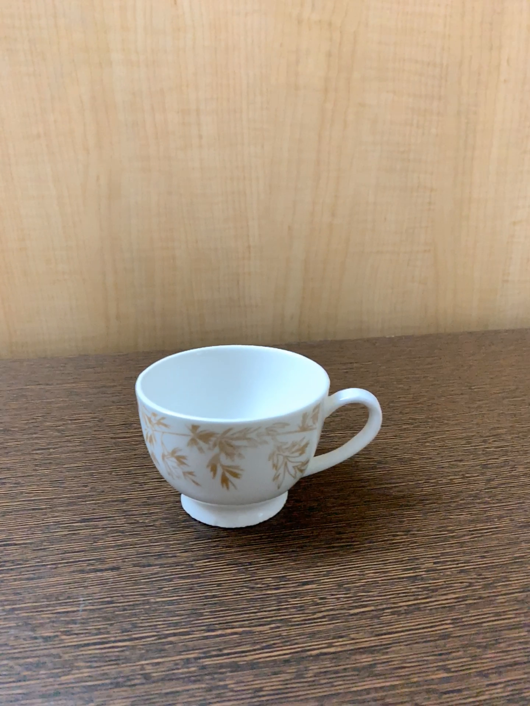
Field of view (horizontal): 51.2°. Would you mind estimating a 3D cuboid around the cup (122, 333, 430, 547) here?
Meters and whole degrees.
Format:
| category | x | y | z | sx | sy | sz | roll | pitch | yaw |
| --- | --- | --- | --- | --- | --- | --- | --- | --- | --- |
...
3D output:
| category | x | y | z | sx | sy | sz | roll | pitch | yaw |
| --- | --- | --- | --- | --- | --- | --- | --- | --- | --- |
| cup | 0.002 | 0.029 | 0.224 | 0.100 | 0.050 | 0.081 | -1 | 20 | -4 |
